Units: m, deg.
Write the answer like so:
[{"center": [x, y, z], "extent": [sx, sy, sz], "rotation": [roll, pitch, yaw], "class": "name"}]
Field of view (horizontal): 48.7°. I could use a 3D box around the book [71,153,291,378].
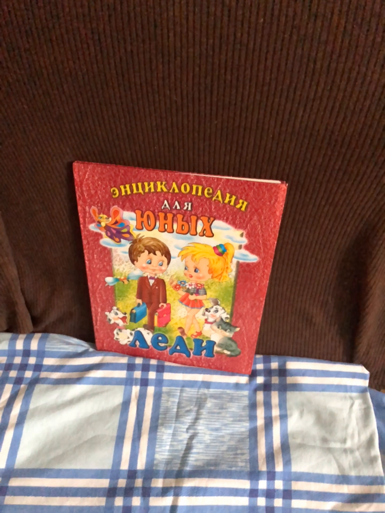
[{"center": [-0.022, 0.030, 0.536], "extent": [0.230, 0.303, 0.020], "rotation": [7, 35, 4], "class": "book"}]
